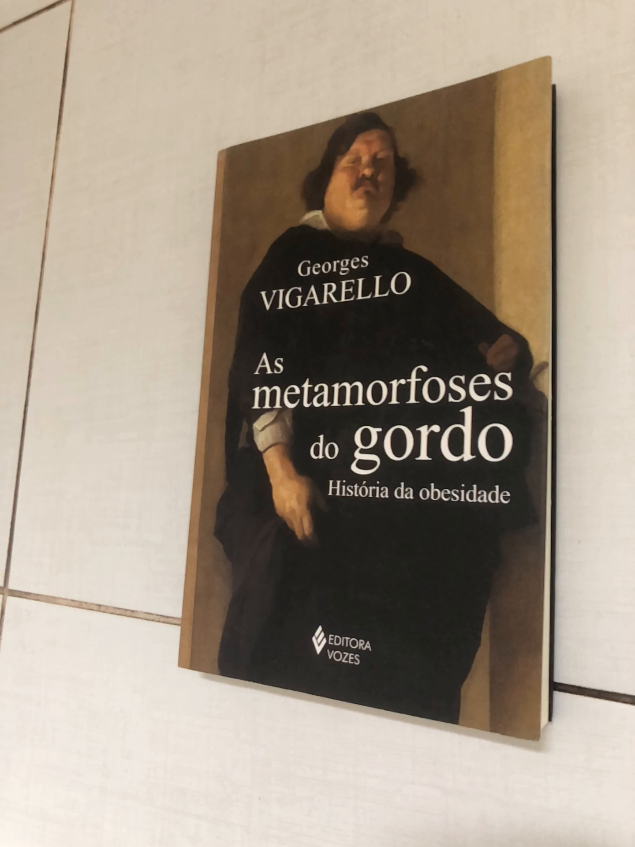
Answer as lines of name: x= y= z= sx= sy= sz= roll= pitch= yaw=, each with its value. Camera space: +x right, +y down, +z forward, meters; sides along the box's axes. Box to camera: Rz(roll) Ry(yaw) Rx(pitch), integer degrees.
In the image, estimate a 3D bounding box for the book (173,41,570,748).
book: x=0.015 y=-0.011 z=0.248 sx=0.137 sy=0.023 sz=0.204 roll=-2 pitch=82 yaw=33
